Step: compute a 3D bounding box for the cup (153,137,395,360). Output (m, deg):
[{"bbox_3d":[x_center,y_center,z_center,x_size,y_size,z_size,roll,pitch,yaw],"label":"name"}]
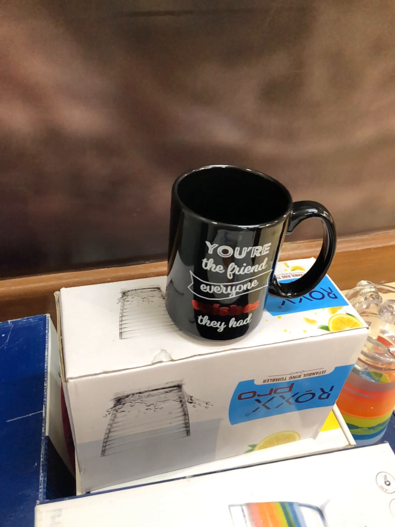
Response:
[{"bbox_3d":[0.041,-0.014,0.303,0.130,0.109,0.090,-6,39,-10],"label":"cup"}]
